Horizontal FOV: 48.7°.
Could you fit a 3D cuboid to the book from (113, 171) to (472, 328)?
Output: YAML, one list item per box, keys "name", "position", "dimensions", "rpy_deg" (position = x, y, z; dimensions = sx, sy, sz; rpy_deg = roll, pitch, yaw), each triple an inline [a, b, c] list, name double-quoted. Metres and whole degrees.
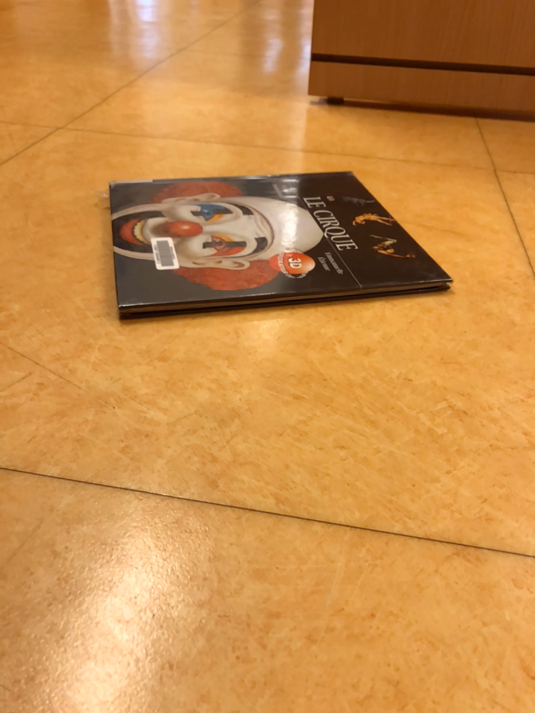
- name: "book"
  position: [0.002, -0.098, 0.464]
  dimensions: [0.233, 0.012, 0.215]
  rpy_deg: [-6, 38, -12]
